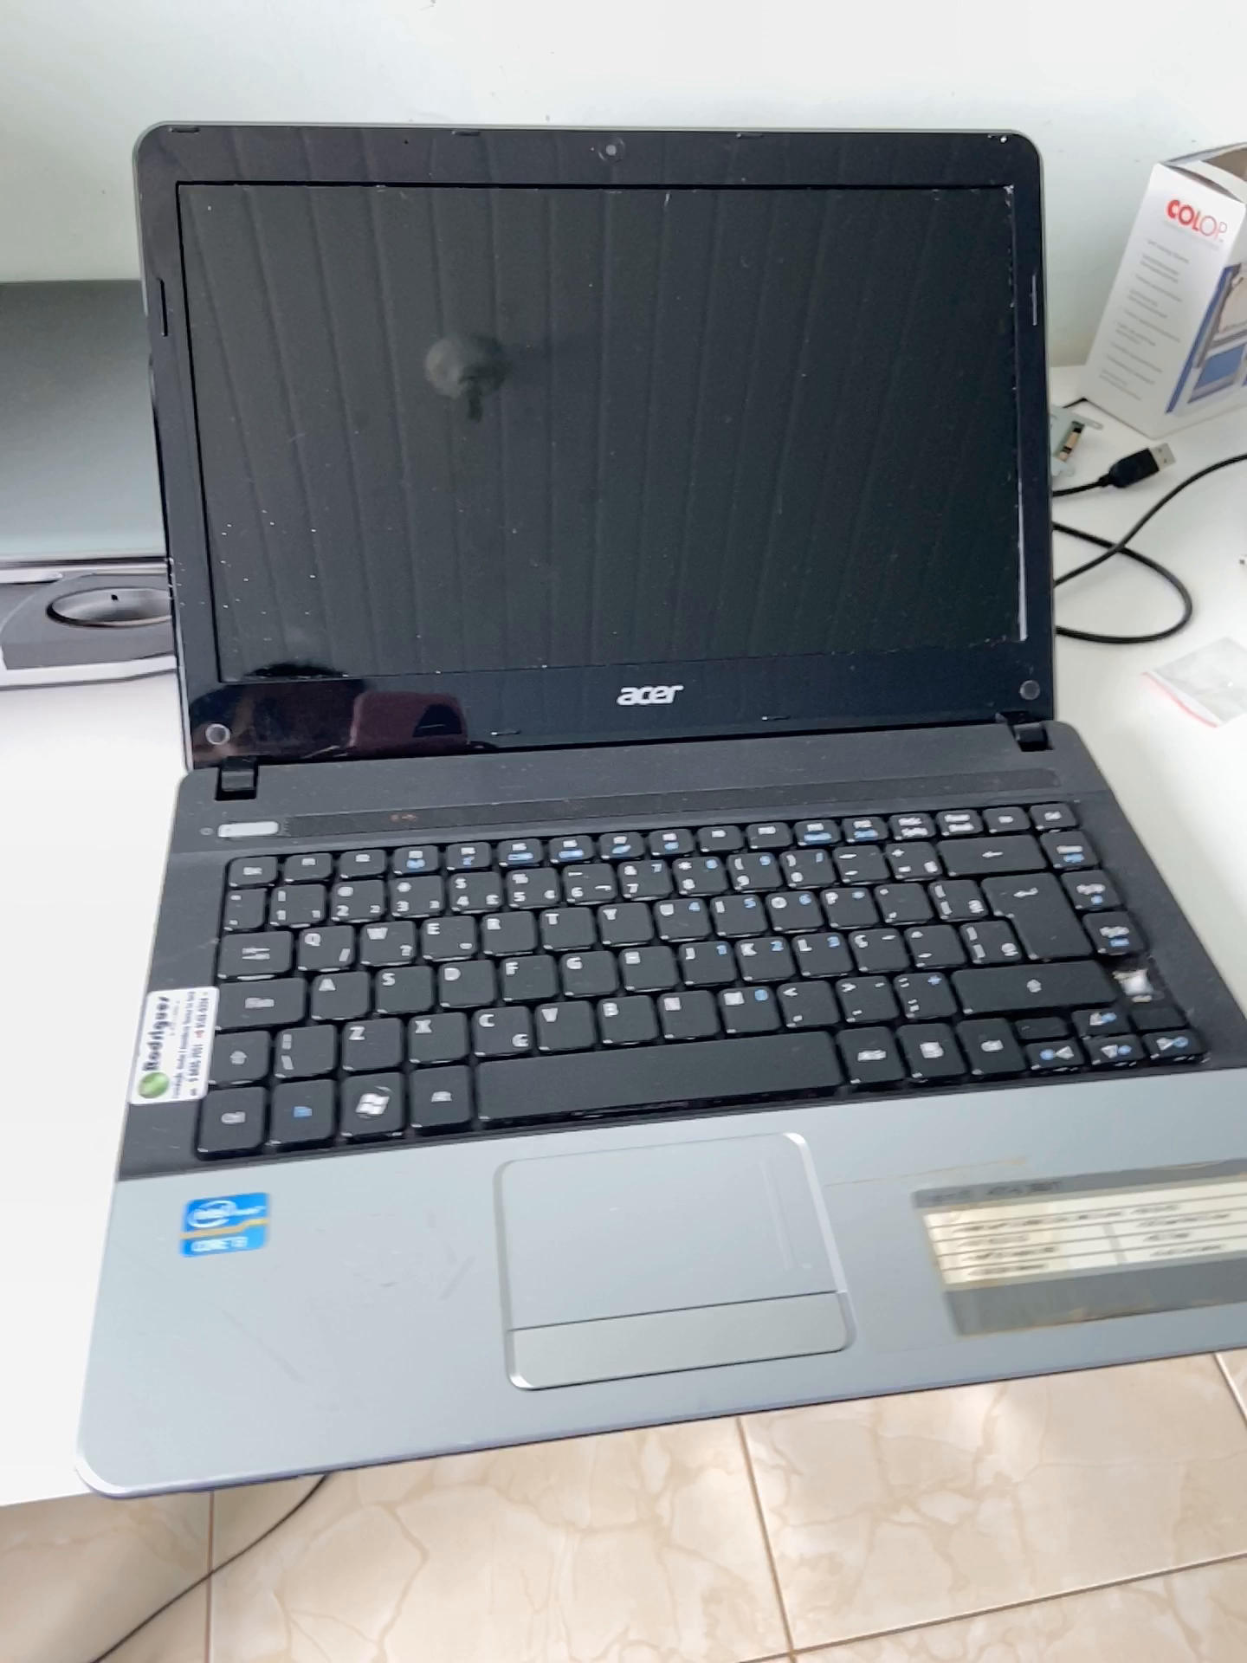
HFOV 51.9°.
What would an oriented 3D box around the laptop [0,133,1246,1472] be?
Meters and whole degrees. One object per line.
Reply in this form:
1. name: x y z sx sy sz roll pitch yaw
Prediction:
1. laptop: 0.021 -0.061 0.398 0.332 0.163 0.398 -4 45 -8
